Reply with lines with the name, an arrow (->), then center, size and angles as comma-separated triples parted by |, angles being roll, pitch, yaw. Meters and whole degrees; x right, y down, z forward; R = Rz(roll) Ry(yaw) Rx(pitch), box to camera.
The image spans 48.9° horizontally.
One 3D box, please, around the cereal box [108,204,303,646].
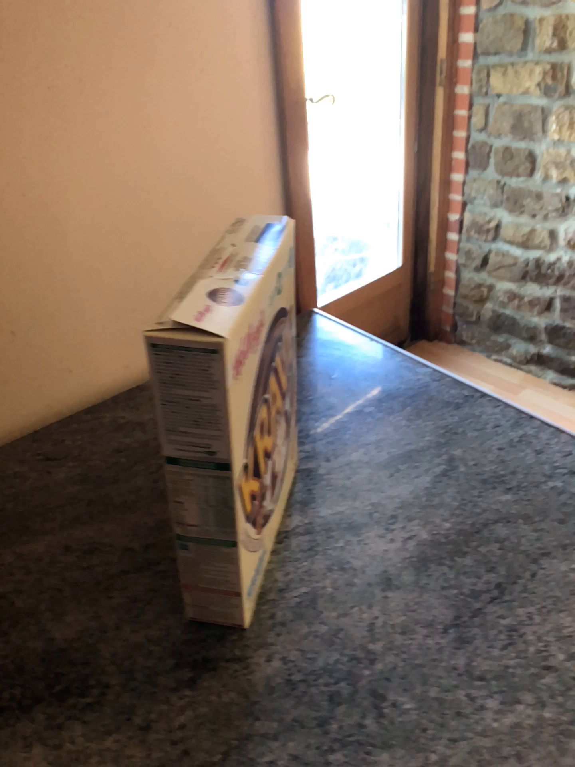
cereal box -> -0.043, 0.021, 0.476 | 0.070, 0.248, 0.211 | 6, 32, 8
